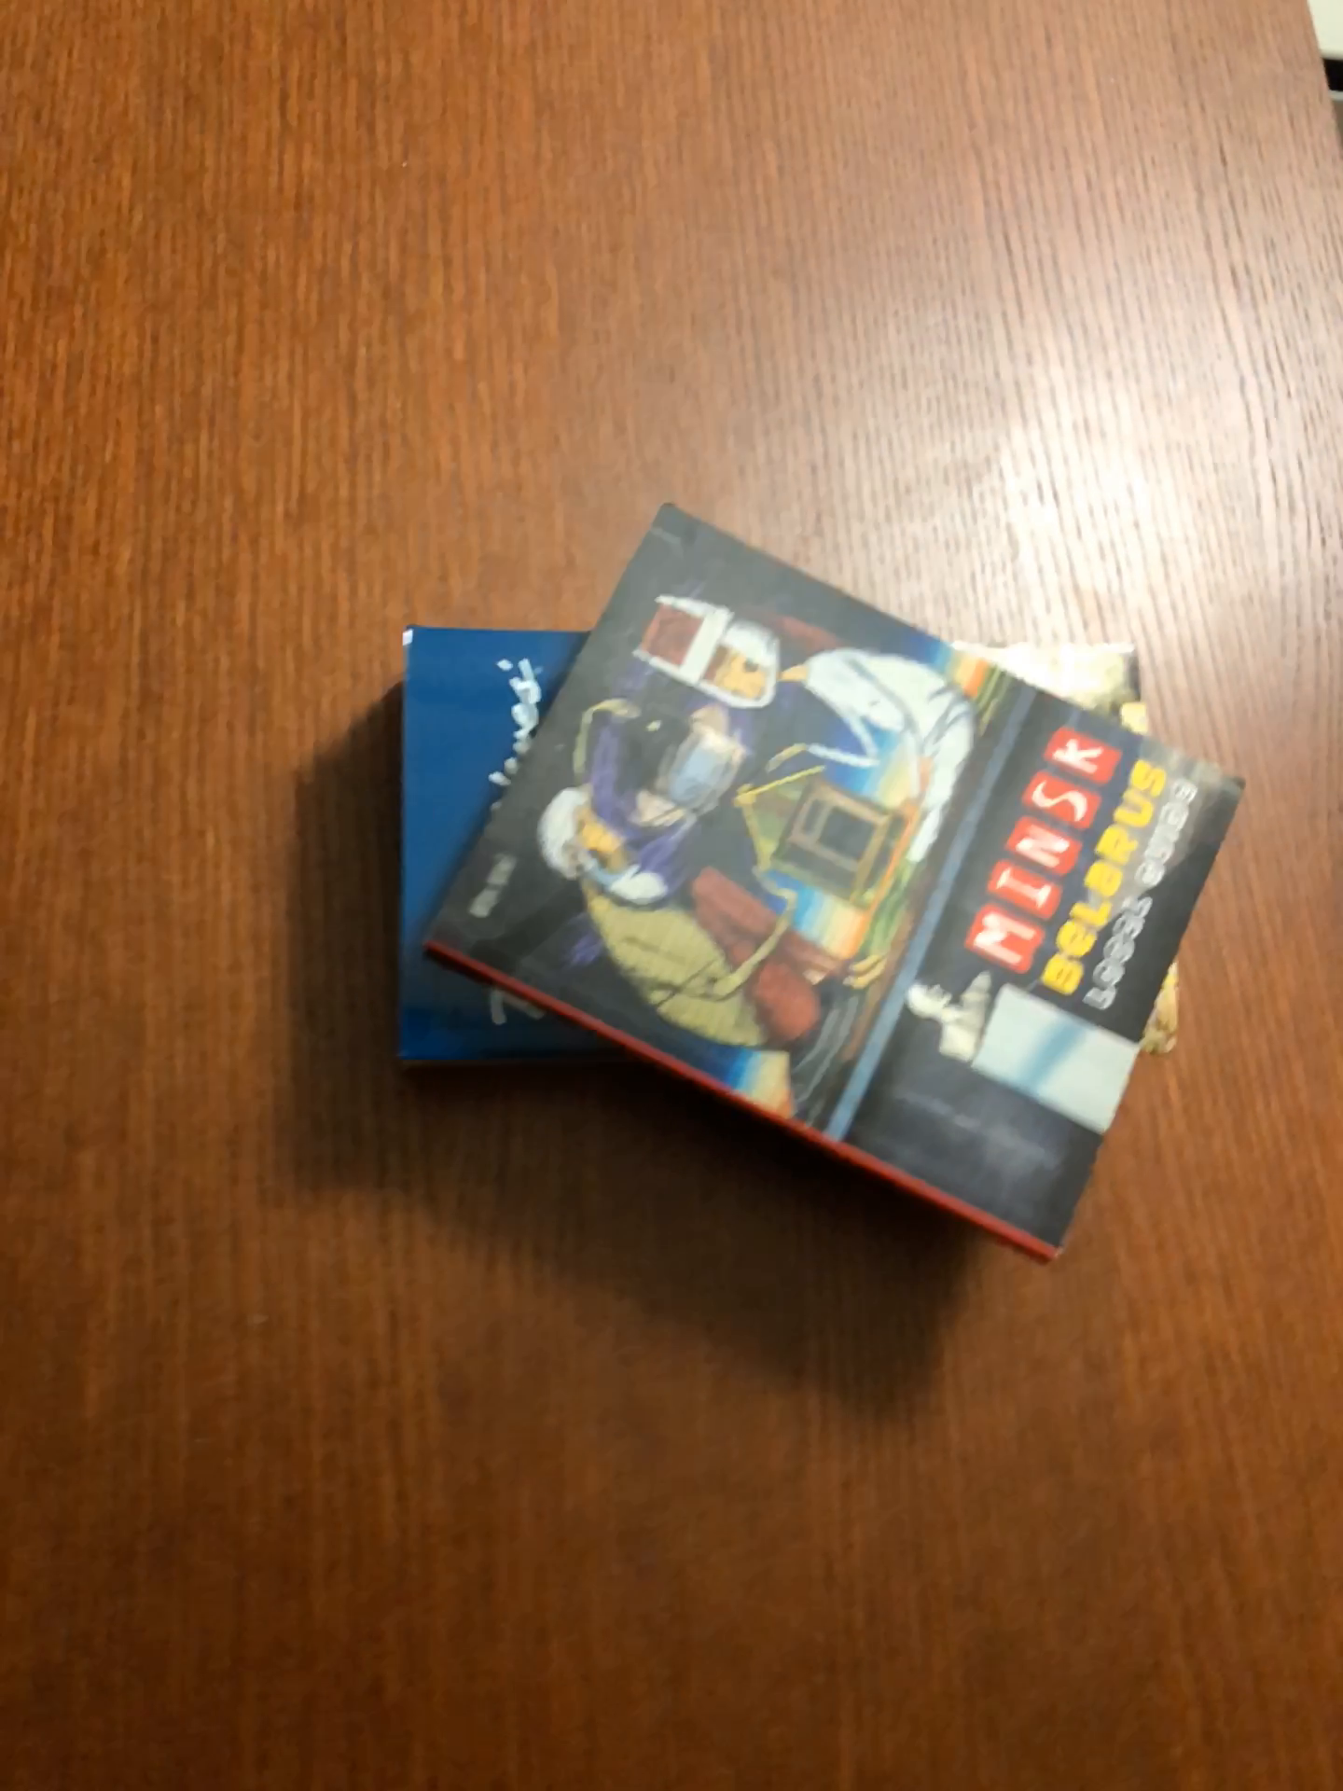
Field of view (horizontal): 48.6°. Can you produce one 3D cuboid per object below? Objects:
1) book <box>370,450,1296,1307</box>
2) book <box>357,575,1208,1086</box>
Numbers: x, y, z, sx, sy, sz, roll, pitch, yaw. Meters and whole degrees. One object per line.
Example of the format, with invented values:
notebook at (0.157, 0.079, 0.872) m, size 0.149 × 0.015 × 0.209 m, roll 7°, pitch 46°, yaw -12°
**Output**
book at (0.046, -0.008, 0.372) m, size 0.190 × 0.020 × 0.150 m, roll 25°, pitch 71°, yaw -1°
book at (0.027, -0.018, 0.413) m, size 0.220 × 0.040 × 0.130 m, roll 0°, pitch 74°, yaw -9°
